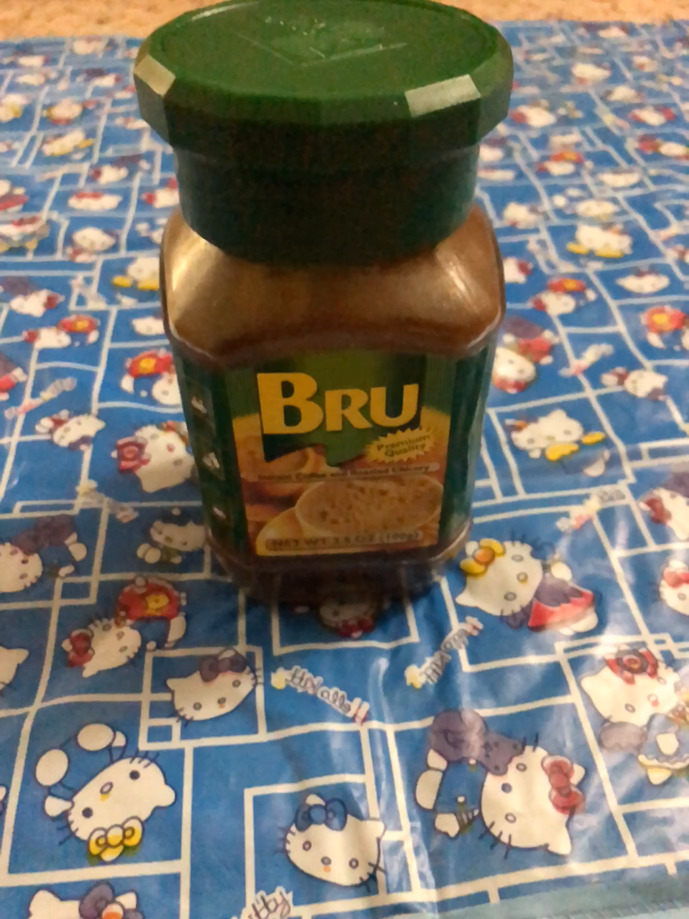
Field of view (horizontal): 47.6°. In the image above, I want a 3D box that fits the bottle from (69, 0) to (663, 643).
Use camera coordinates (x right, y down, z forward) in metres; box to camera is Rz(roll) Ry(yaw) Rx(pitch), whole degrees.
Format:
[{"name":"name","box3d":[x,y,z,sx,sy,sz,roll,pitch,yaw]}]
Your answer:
[{"name":"bottle","box3d":[0.002,-0.025,0.172,0.080,0.120,0.070,-2,44,-2]}]
